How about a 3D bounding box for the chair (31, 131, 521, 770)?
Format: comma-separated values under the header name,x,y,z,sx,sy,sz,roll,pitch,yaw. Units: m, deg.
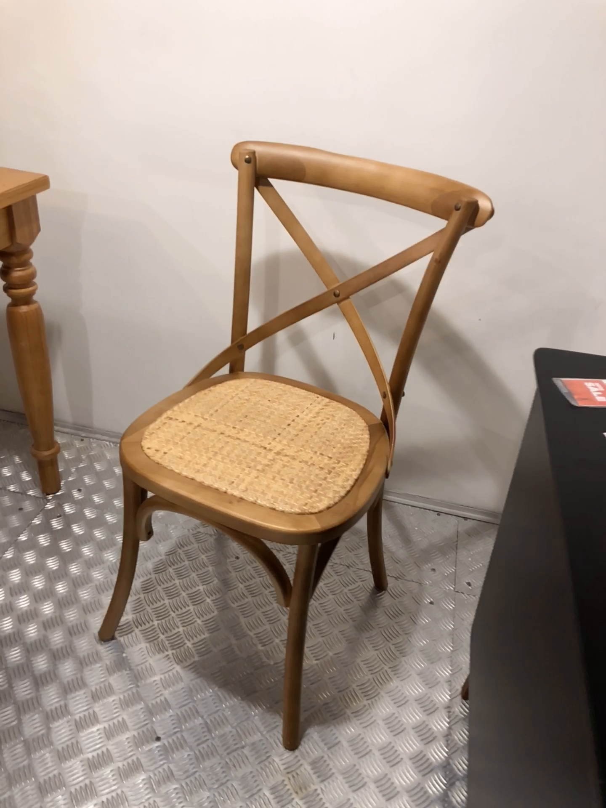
name,x,y,z,sx,sy,sz,roll,pitch,yaw
chair,-0.032,0.048,1.195,0.501,0.873,0.544,20,35,23
